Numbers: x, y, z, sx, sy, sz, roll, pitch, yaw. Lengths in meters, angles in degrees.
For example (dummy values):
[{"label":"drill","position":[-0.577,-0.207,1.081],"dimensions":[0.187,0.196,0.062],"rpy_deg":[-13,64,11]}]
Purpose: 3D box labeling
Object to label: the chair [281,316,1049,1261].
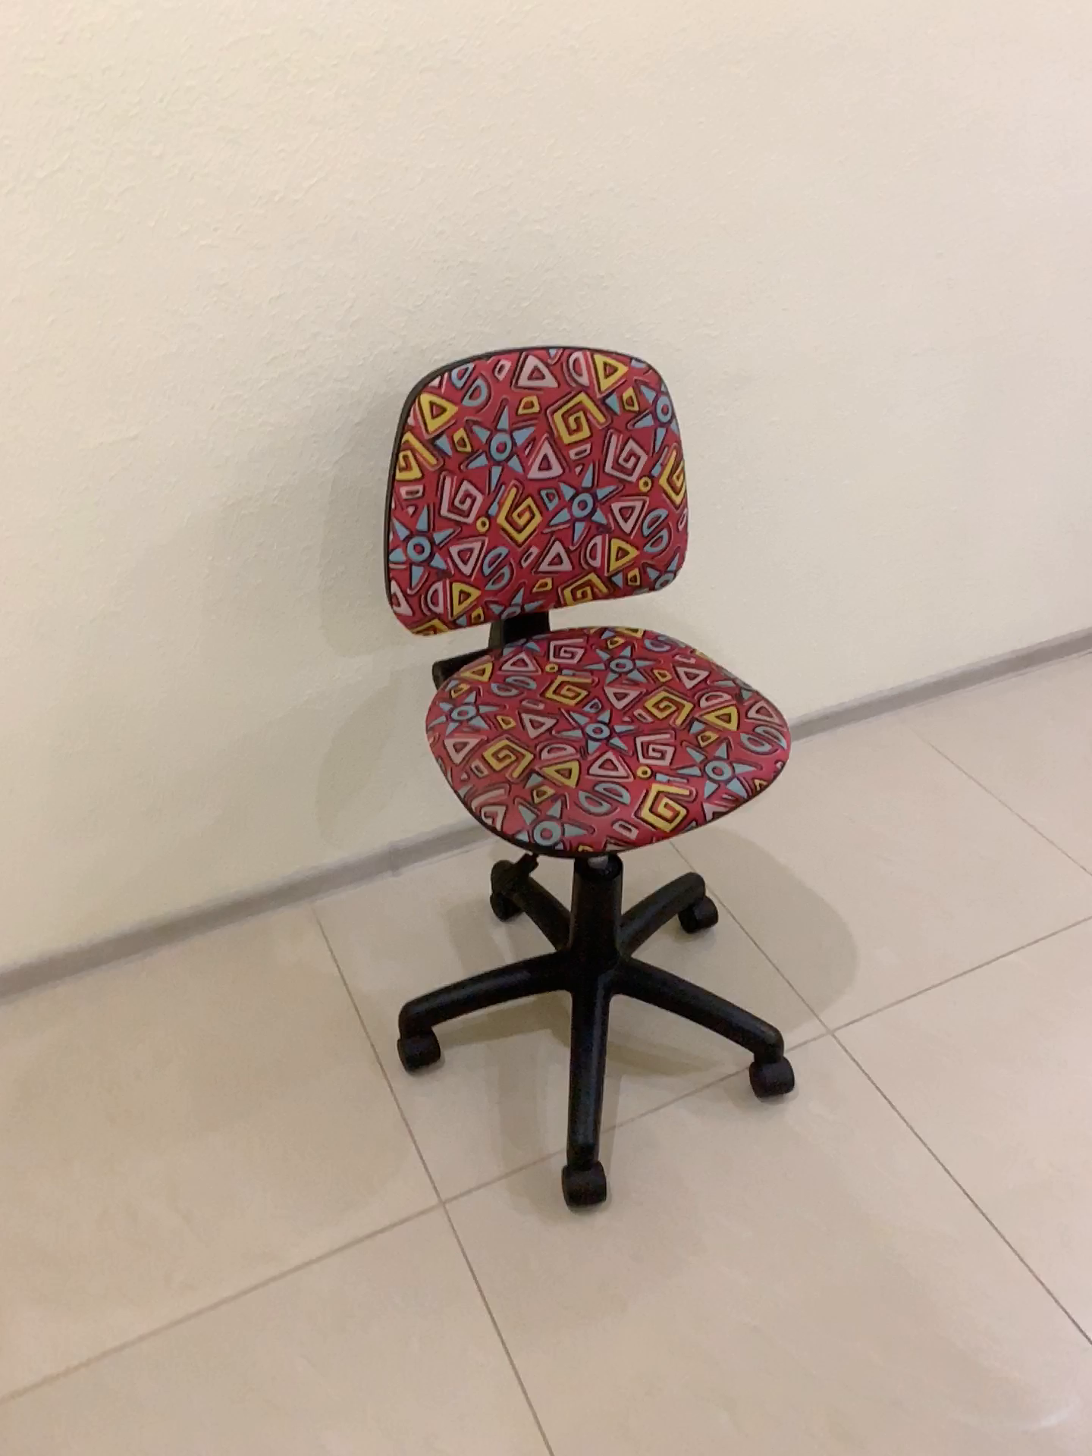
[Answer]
[{"label":"chair","position":[0.078,0.059,1.356],"dimensions":[0.551,0.884,0.543],"rpy_deg":[-16,40,-22]}]
